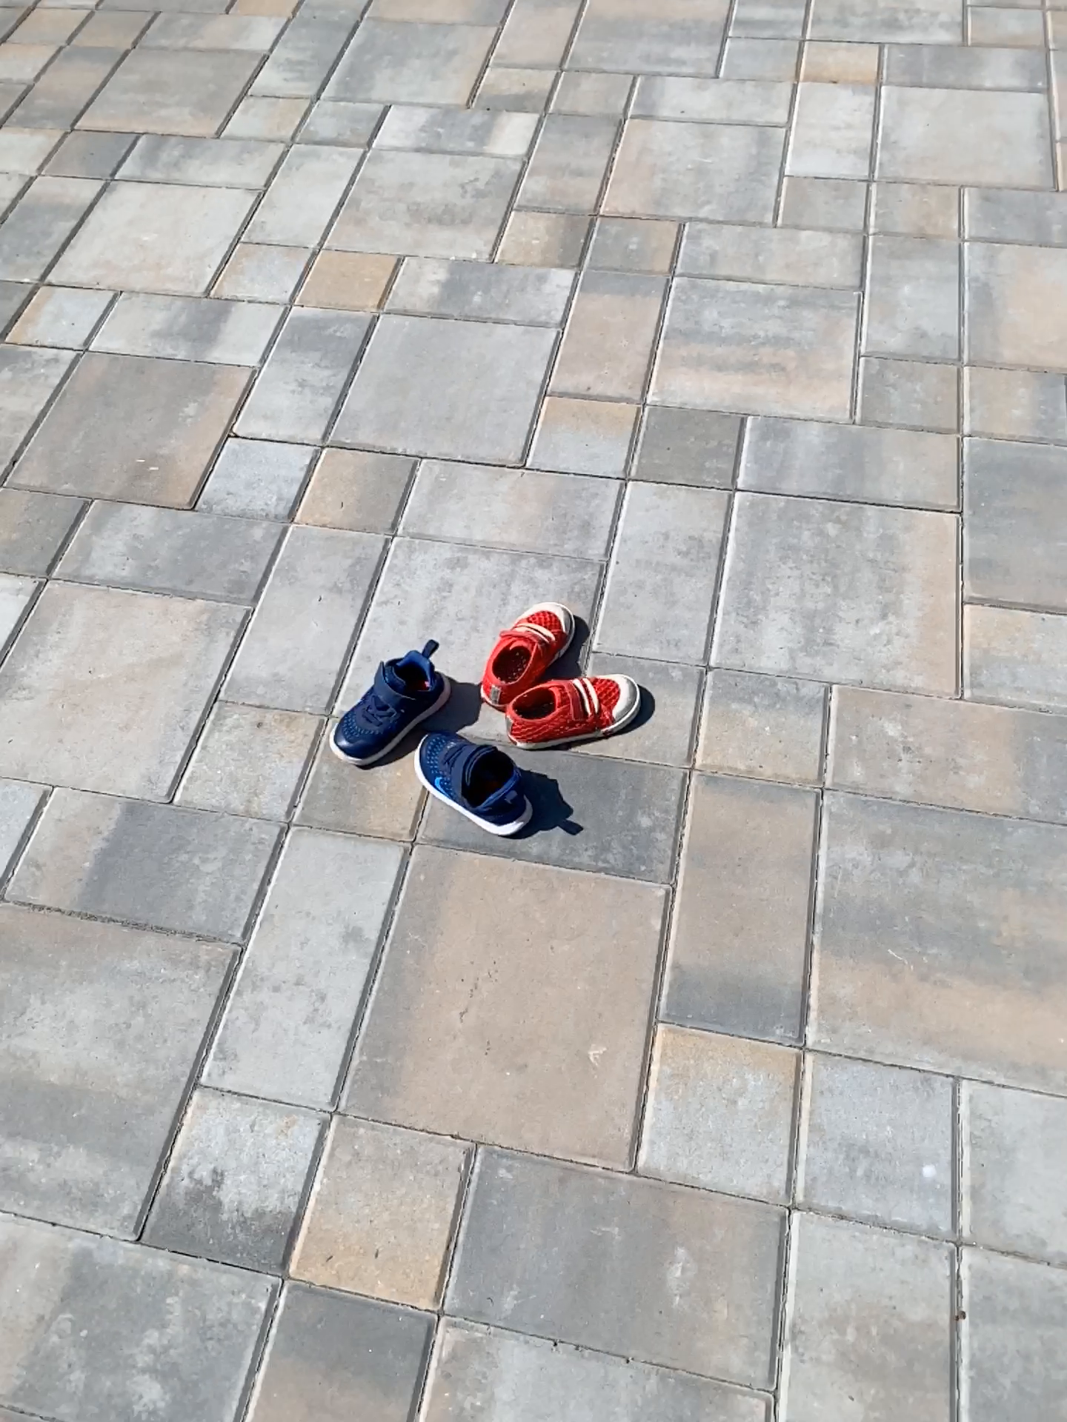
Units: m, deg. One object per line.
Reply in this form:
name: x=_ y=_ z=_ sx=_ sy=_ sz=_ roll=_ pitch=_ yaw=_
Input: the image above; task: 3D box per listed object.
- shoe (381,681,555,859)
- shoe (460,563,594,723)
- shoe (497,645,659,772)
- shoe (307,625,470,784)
shoe: x=-0.074 y=0.067 z=1.256 sx=0.180 sy=0.090 sz=0.090 roll=36 pitch=66 yaw=24
shoe: x=-0.005 y=-0.083 z=1.314 sx=0.080 sy=0.070 sz=0.170 roll=26 pitch=62 yaw=19
shoe: x=0.053 y=-0.003 z=1.288 sx=0.170 sy=0.070 sz=0.080 roll=-17 pitch=57 yaw=-7
shoe: x=-0.168 y=-0.009 z=1.285 sx=0.170 sy=0.070 sz=0.080 roll=-40 pitch=63 yaw=-20
